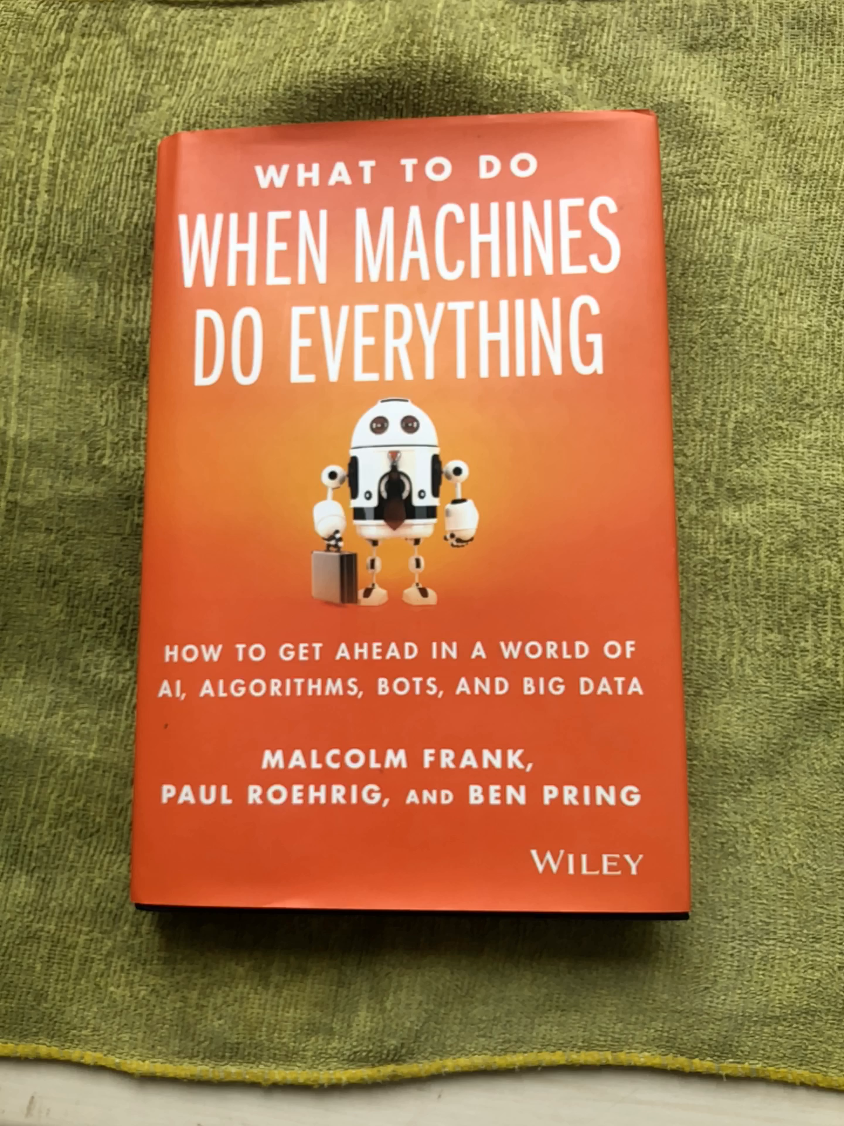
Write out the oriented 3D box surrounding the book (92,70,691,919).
[{"bbox_3d":[-0.009,-0.023,0.286,0.160,0.040,0.240,-1,83,3],"label":"book"}]
